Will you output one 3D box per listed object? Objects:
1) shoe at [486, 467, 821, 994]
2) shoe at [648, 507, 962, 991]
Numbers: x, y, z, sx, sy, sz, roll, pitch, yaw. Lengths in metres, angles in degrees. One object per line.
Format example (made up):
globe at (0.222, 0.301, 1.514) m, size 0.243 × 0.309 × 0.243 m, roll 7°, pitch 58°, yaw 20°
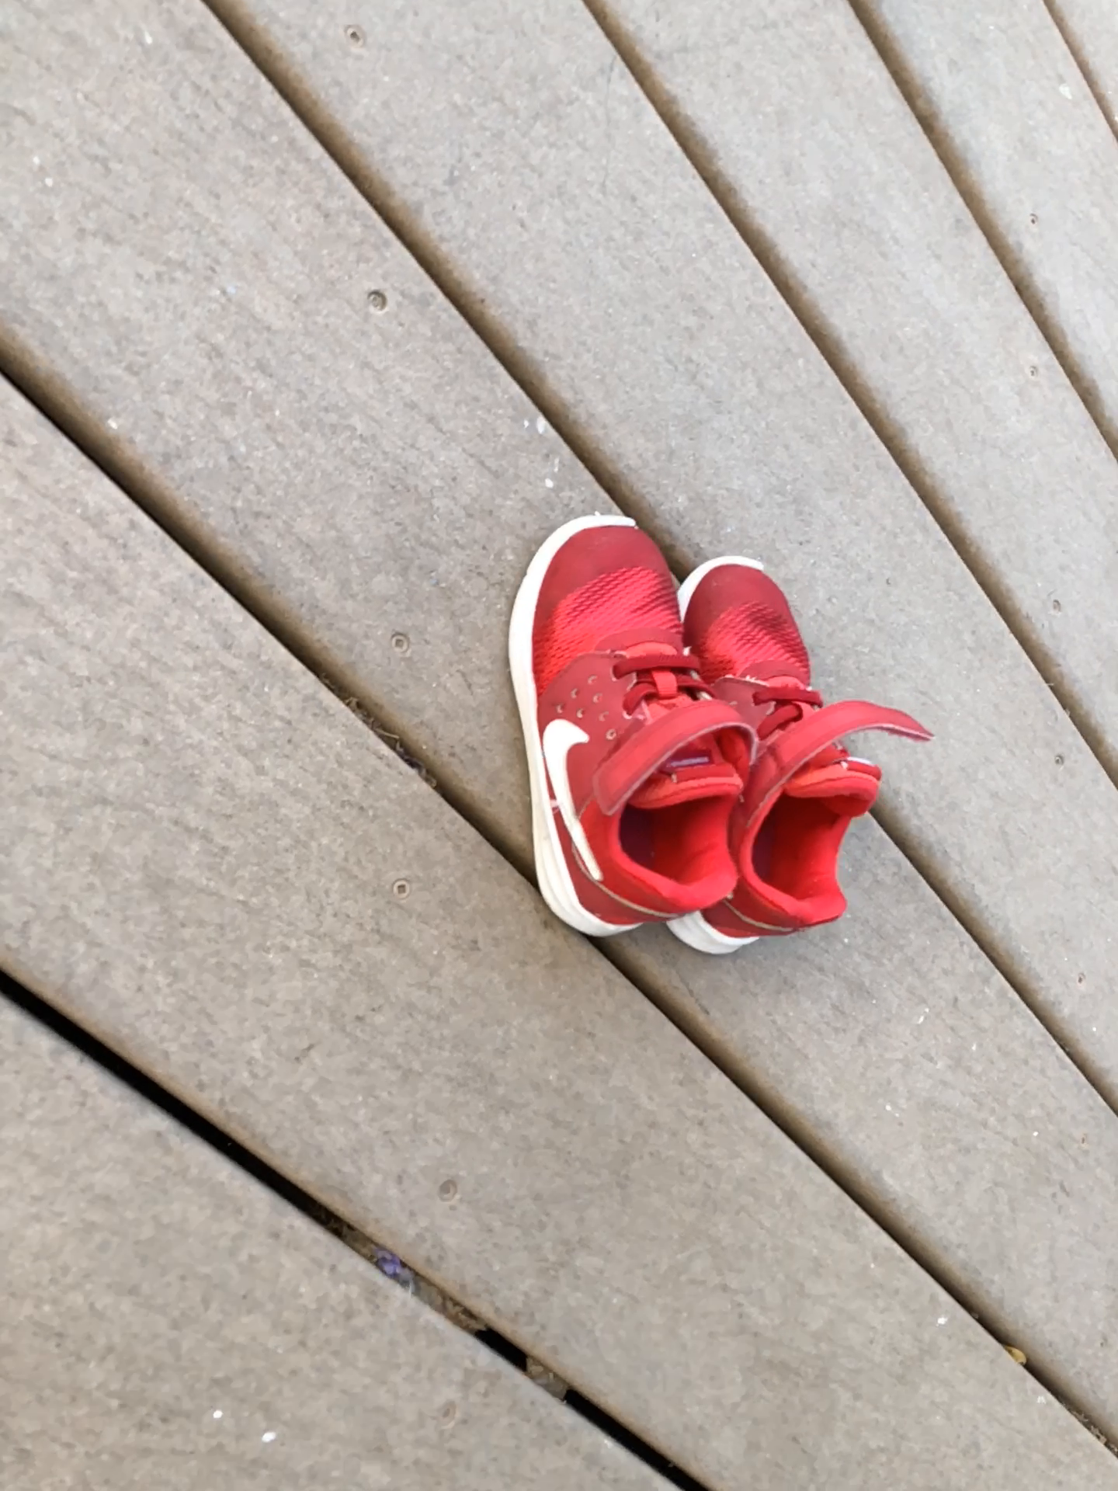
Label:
shoe at (0.032, -0.005, 0.446) m, size 0.078 × 0.087 × 0.167 m, roll -2°, pitch 89°, yaw -34°
shoe at (0.095, 0.004, 0.479) m, size 0.078 × 0.087 × 0.167 m, roll 5°, pitch 85°, yaw -34°
